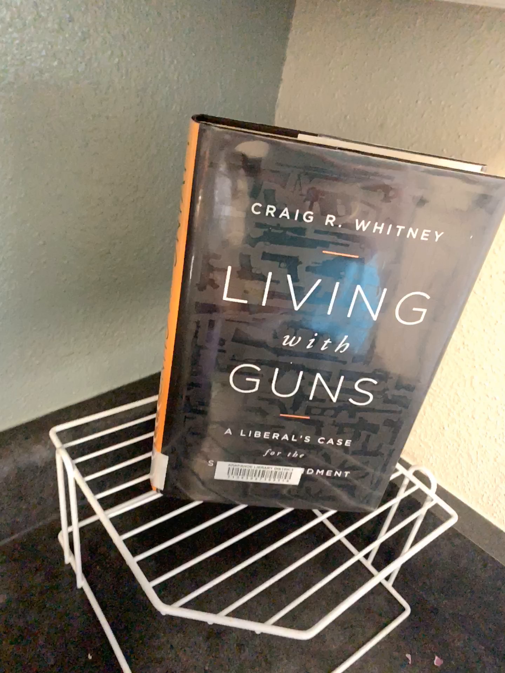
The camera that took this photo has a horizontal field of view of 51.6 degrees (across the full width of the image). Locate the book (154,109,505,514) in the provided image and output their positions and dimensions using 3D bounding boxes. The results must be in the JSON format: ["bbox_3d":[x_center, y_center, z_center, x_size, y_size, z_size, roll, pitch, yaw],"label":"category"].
[{"bbox_3d":[0.035,0.000,0.315,0.171,0.229,0.040,6,26,-5],"label":"book"}]
